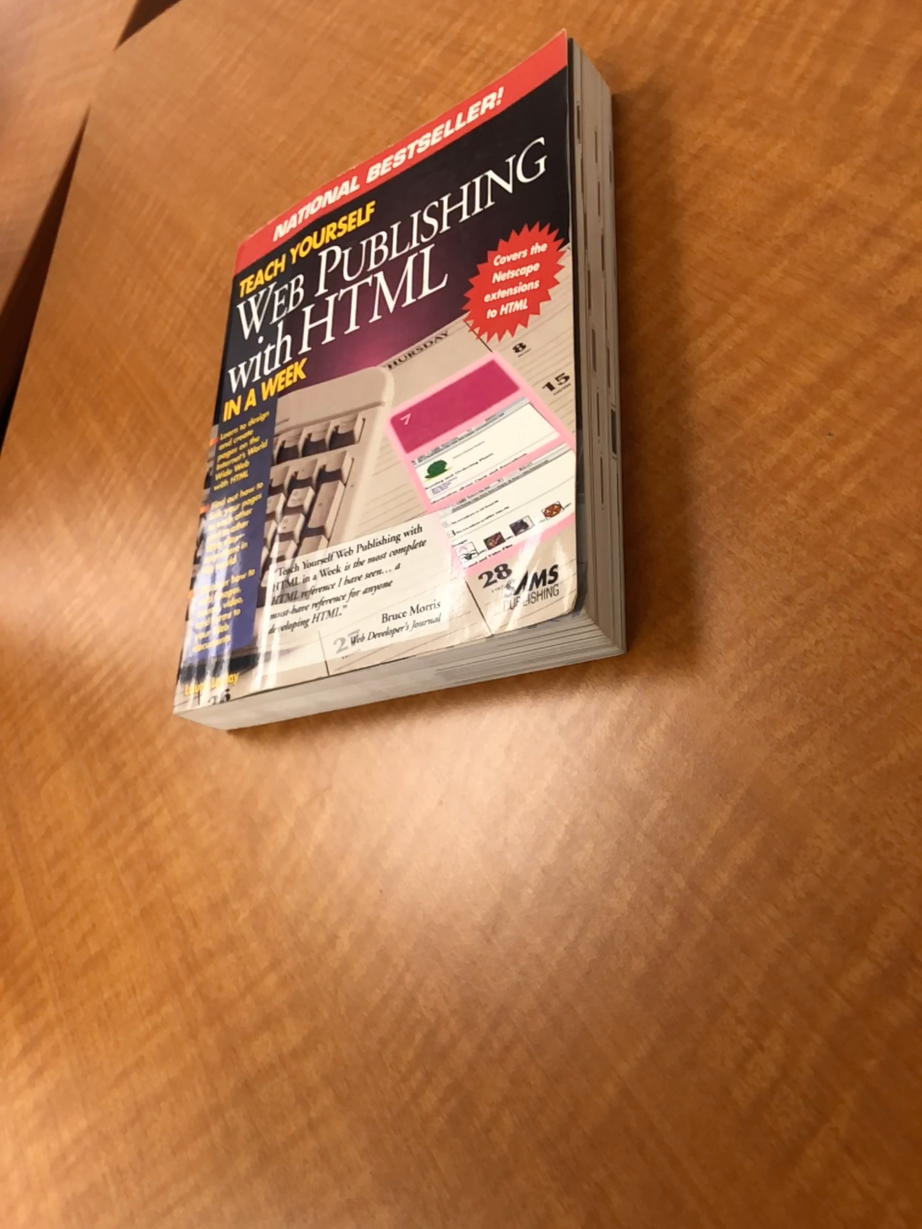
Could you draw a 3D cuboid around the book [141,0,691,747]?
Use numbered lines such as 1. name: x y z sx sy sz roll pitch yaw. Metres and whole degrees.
1. book: -0.023 -0.088 0.396 0.211 0.040 0.251 -14 62 35
